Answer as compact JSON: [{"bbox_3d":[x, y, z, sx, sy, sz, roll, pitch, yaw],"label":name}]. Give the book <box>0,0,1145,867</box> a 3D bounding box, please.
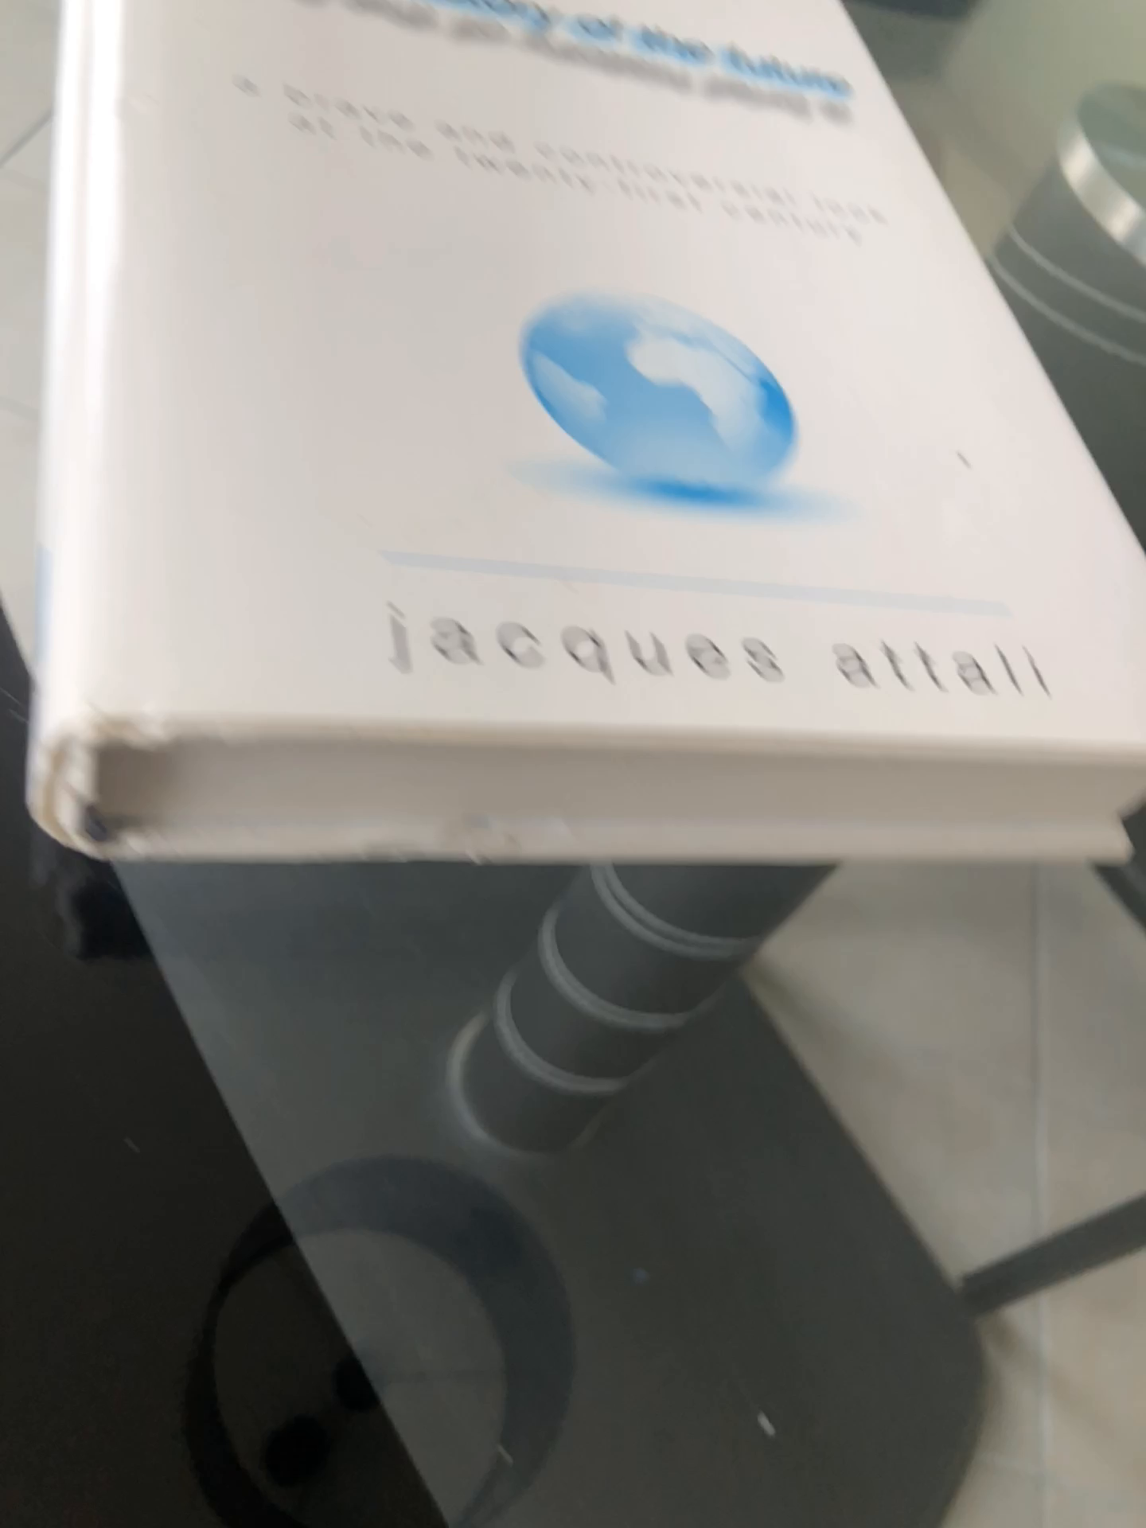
[{"bbox_3d":[0.001,-0.087,0.193,0.151,0.040,0.210,2,56,-21],"label":"book"}]
